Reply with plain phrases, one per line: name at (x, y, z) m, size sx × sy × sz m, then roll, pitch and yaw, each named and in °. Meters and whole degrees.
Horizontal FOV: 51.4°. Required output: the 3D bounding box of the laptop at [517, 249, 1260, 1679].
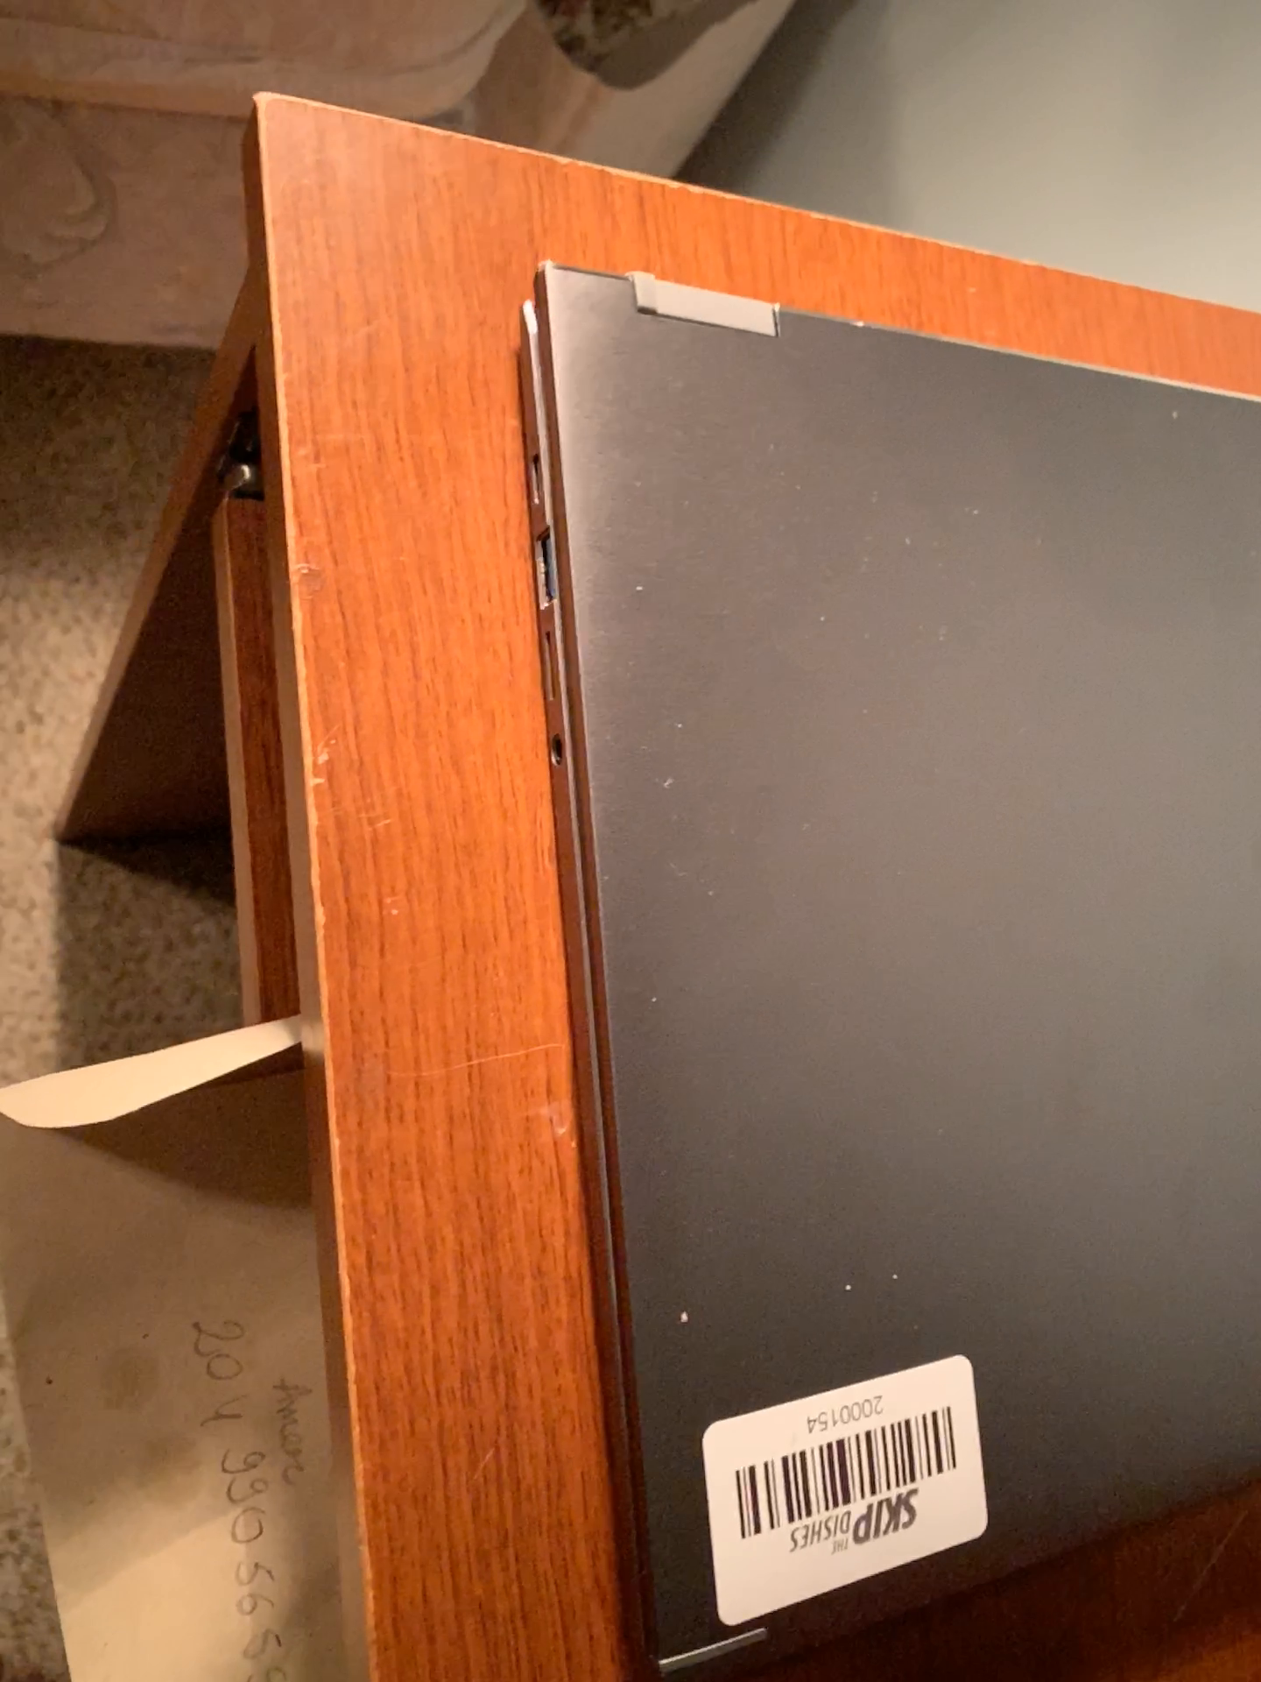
laptop at (0.124, 0.010, 0.284) m, size 0.300 × 0.002 × 0.232 m, roll -1°, pitch 82°, yaw -28°
